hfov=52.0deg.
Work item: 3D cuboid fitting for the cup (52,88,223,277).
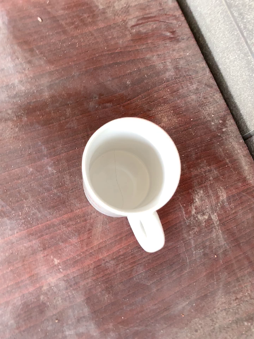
[{"bbox_3d":[0.001,0.014,0.245,0.090,0.100,0.120,-22,81,-13],"label":"cup"}]
